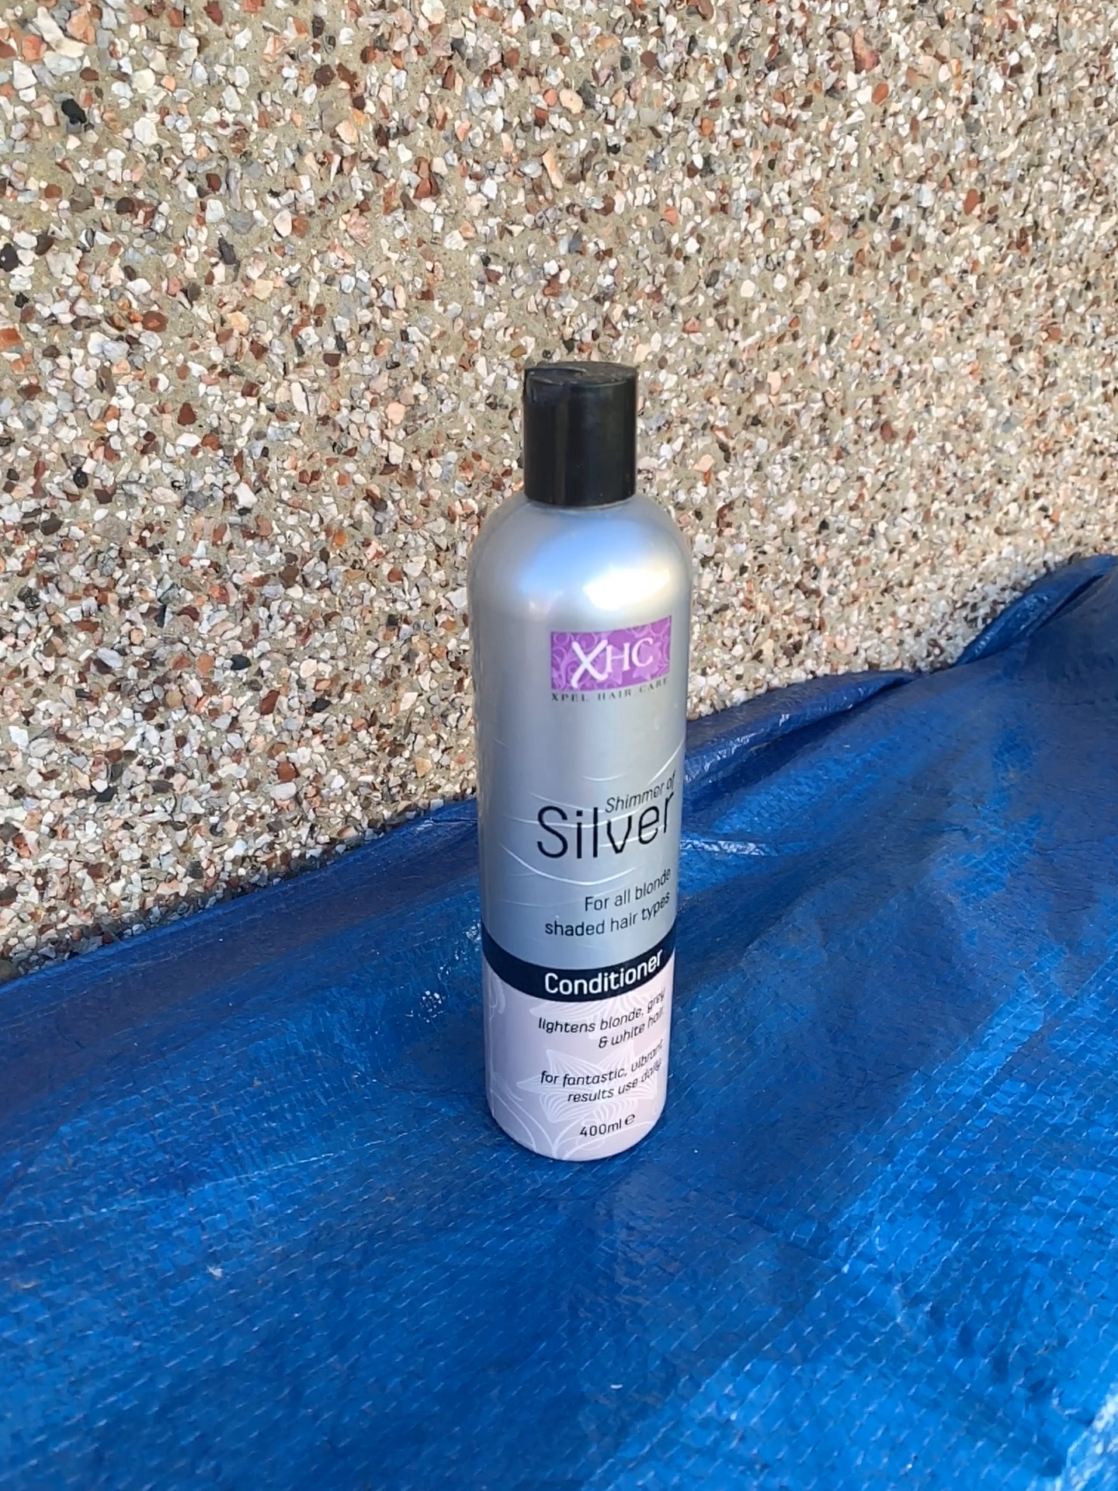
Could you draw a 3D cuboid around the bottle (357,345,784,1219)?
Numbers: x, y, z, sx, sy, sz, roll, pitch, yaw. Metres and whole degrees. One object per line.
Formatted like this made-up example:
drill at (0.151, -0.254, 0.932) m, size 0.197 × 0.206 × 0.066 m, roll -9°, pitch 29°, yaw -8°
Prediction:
bottle at (0.001, 0.014, 0.280) m, size 0.070 × 0.198 × 0.061 m, roll -11°, pitch 30°, yaw -17°
